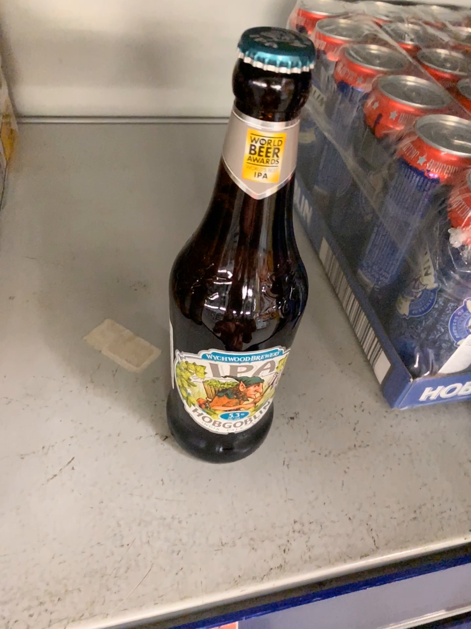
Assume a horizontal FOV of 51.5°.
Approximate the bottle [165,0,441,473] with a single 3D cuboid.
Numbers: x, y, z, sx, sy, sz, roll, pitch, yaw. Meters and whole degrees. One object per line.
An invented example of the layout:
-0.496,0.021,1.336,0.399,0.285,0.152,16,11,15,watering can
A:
0.004,-0.014,0.255,0.080,0.249,0.080,4,46,-4,bottle
